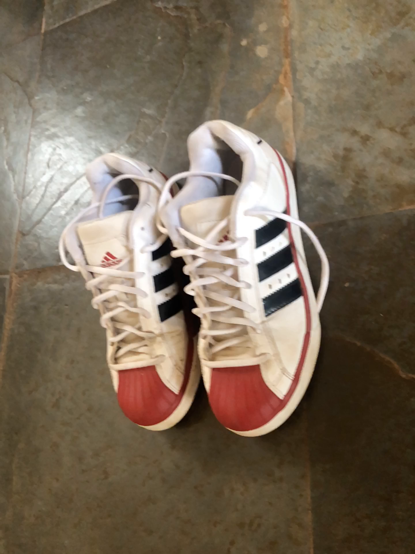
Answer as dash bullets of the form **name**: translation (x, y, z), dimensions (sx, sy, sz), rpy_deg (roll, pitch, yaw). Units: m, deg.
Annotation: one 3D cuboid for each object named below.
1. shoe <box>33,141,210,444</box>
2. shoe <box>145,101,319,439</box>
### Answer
- **shoe**: translation (-0.084, 0.024, 0.479), dimensions (0.110, 0.130, 0.271), rpy_deg (-12, 71, 25)
- **shoe**: translation (0.023, 0.001, 0.423), dimensions (0.110, 0.110, 0.271), rpy_deg (-9, 72, 26)
